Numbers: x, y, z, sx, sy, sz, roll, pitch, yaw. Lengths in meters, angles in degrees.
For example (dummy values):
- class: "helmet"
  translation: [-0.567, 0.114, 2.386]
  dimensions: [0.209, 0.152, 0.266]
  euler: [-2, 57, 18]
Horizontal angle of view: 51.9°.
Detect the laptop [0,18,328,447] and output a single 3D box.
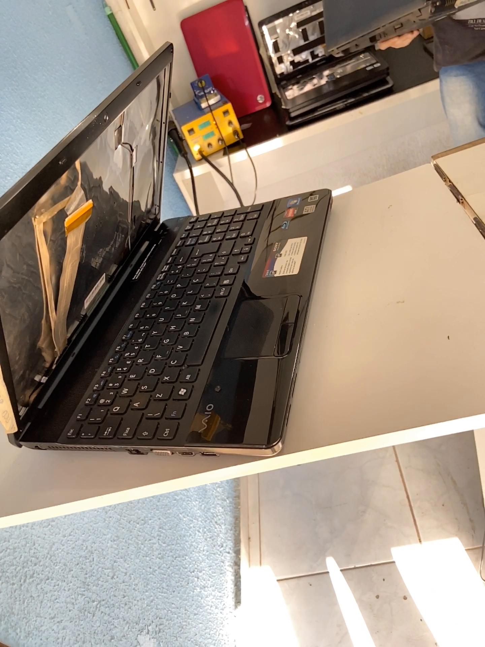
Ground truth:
- class: "laptop"
  translation: [-0.085, -0.098, 0.471]
  dimensions: [0.242, 0.193, 0.366]
  euler: [-6, 41, 24]
